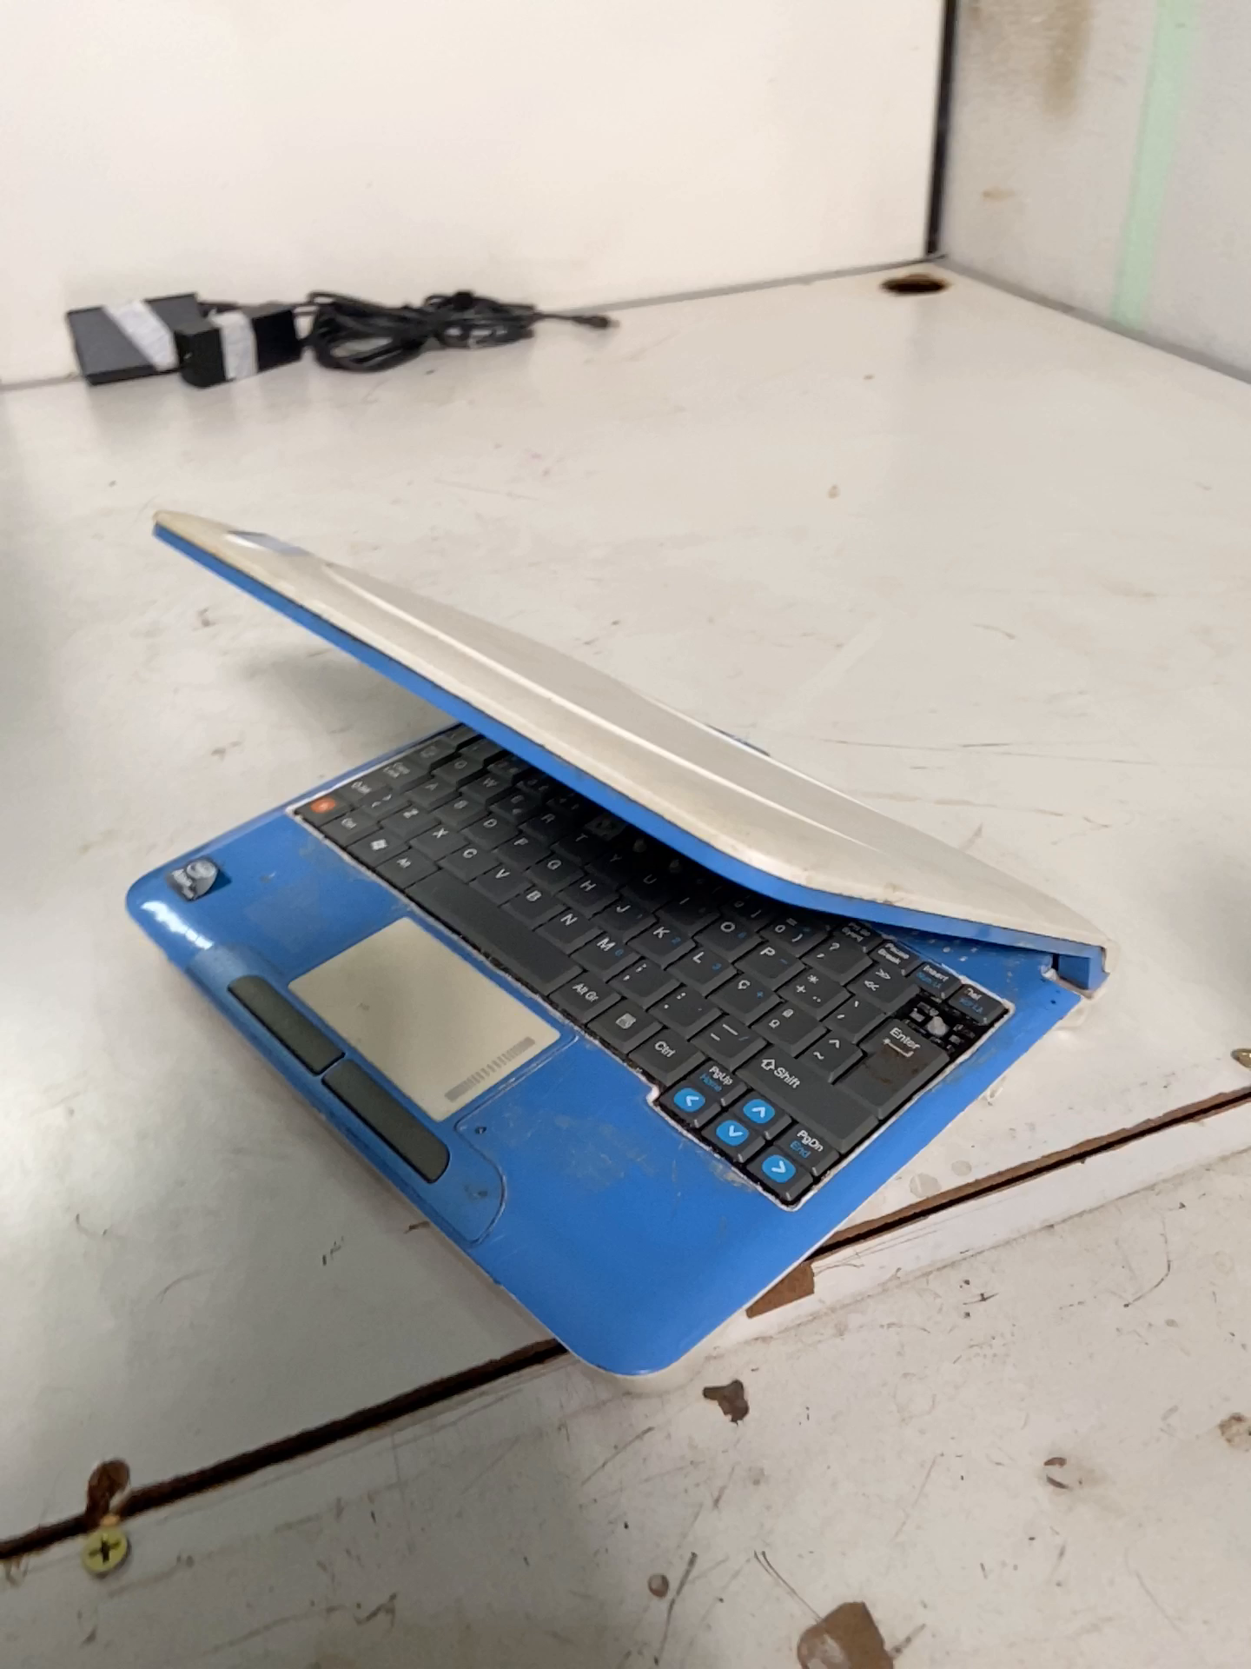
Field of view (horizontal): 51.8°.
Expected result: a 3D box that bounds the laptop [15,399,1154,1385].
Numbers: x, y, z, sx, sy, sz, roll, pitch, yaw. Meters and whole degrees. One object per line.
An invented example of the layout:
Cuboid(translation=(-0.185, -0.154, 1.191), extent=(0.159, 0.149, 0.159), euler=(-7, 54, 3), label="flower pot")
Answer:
Cuboid(translation=(-0.020, -0.019, 0.366), extent=(0.182, 0.116, 0.247), euler=(-29, 43, -32), label="laptop")
